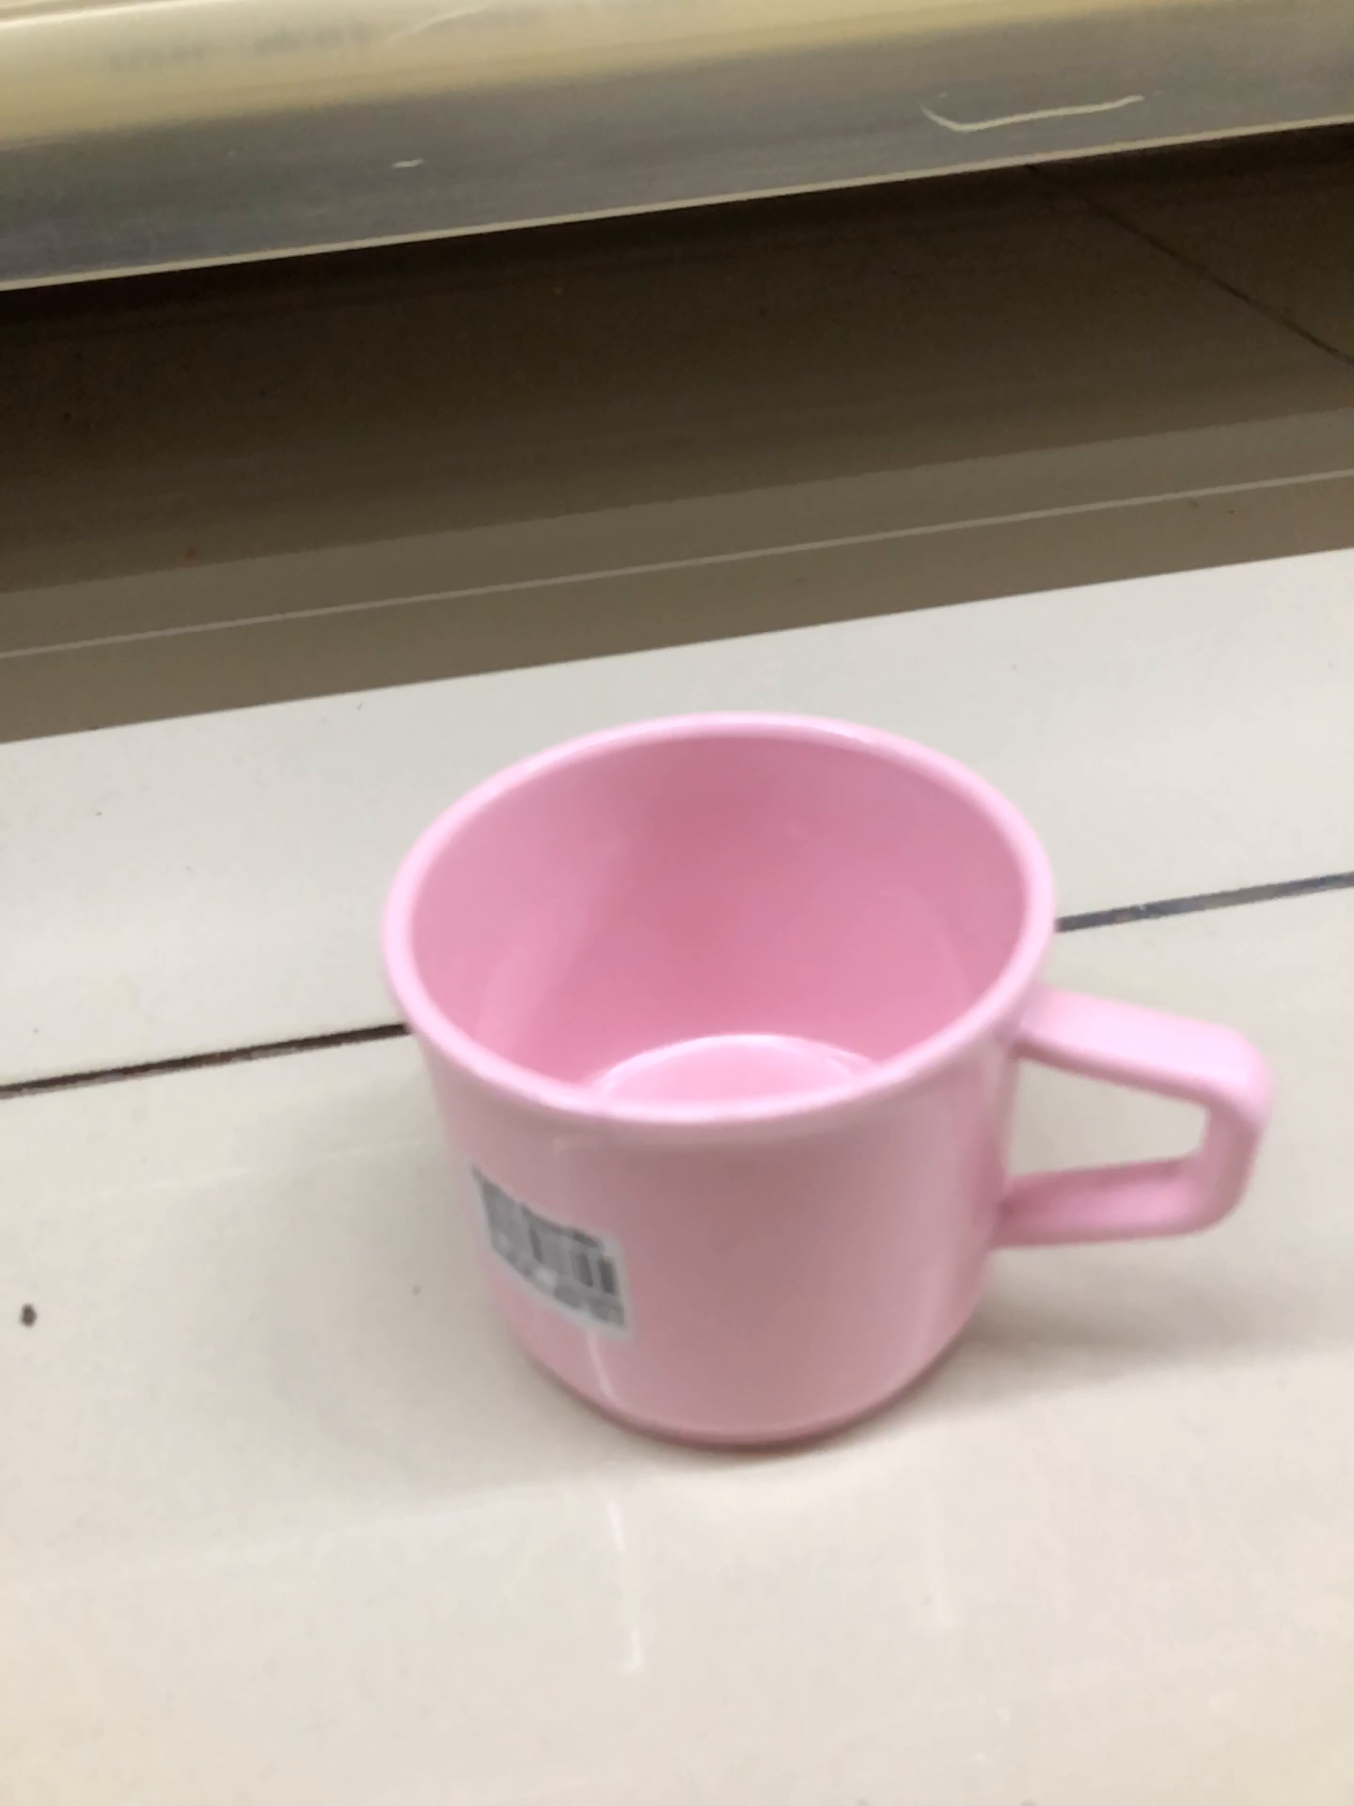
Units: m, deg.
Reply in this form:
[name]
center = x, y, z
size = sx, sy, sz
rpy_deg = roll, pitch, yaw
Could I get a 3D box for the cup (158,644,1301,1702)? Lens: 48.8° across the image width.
[cup]
center = 0.013, 0.026, 0.195
size = 0.110, 0.079, 0.081
rpy_deg = 11, 40, 21
